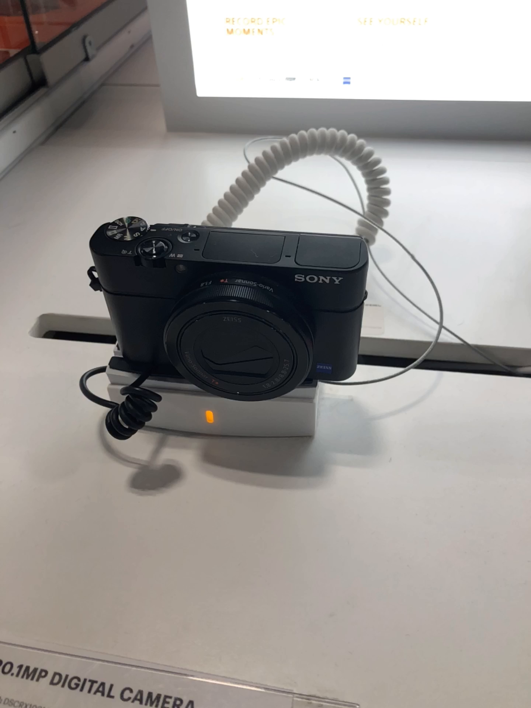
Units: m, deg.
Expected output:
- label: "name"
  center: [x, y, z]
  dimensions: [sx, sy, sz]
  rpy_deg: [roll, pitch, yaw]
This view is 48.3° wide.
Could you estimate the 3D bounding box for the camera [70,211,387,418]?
- label: "camera"
  center: [-0.011, -0.015, 0.236]
  dimensions: [0.110, 0.070, 0.030]
  rpy_deg: [6, 43, 9]
